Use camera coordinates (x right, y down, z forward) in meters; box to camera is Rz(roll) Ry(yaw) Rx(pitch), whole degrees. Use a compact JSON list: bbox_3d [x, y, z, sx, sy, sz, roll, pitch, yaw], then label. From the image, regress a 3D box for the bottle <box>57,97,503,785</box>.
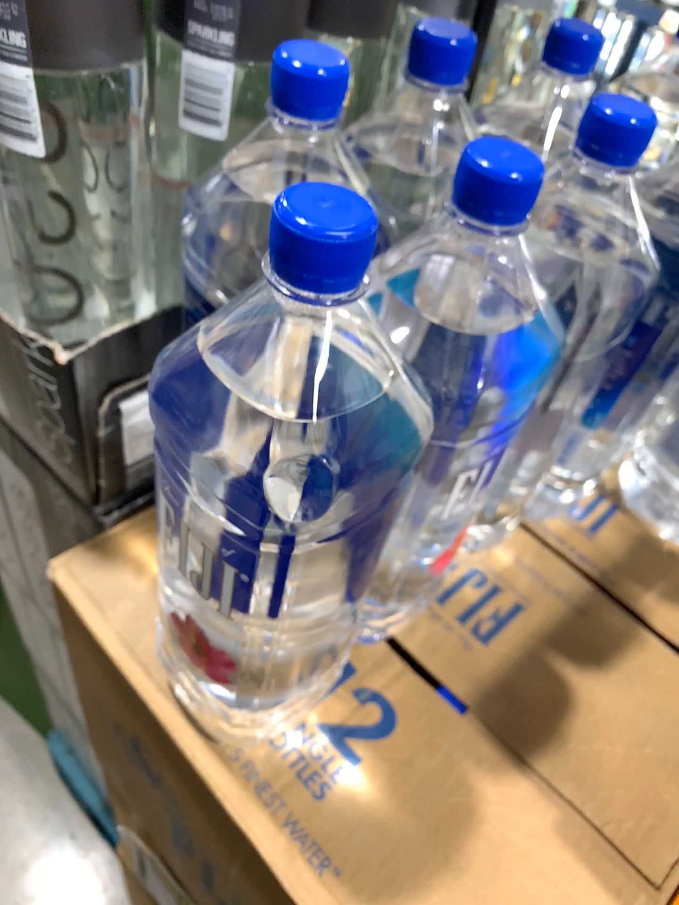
[{"bbox_3d":[-0.036,0.023,0.289,0.080,0.279,0.090,-27,58,-32],"label":"bottle"}]
